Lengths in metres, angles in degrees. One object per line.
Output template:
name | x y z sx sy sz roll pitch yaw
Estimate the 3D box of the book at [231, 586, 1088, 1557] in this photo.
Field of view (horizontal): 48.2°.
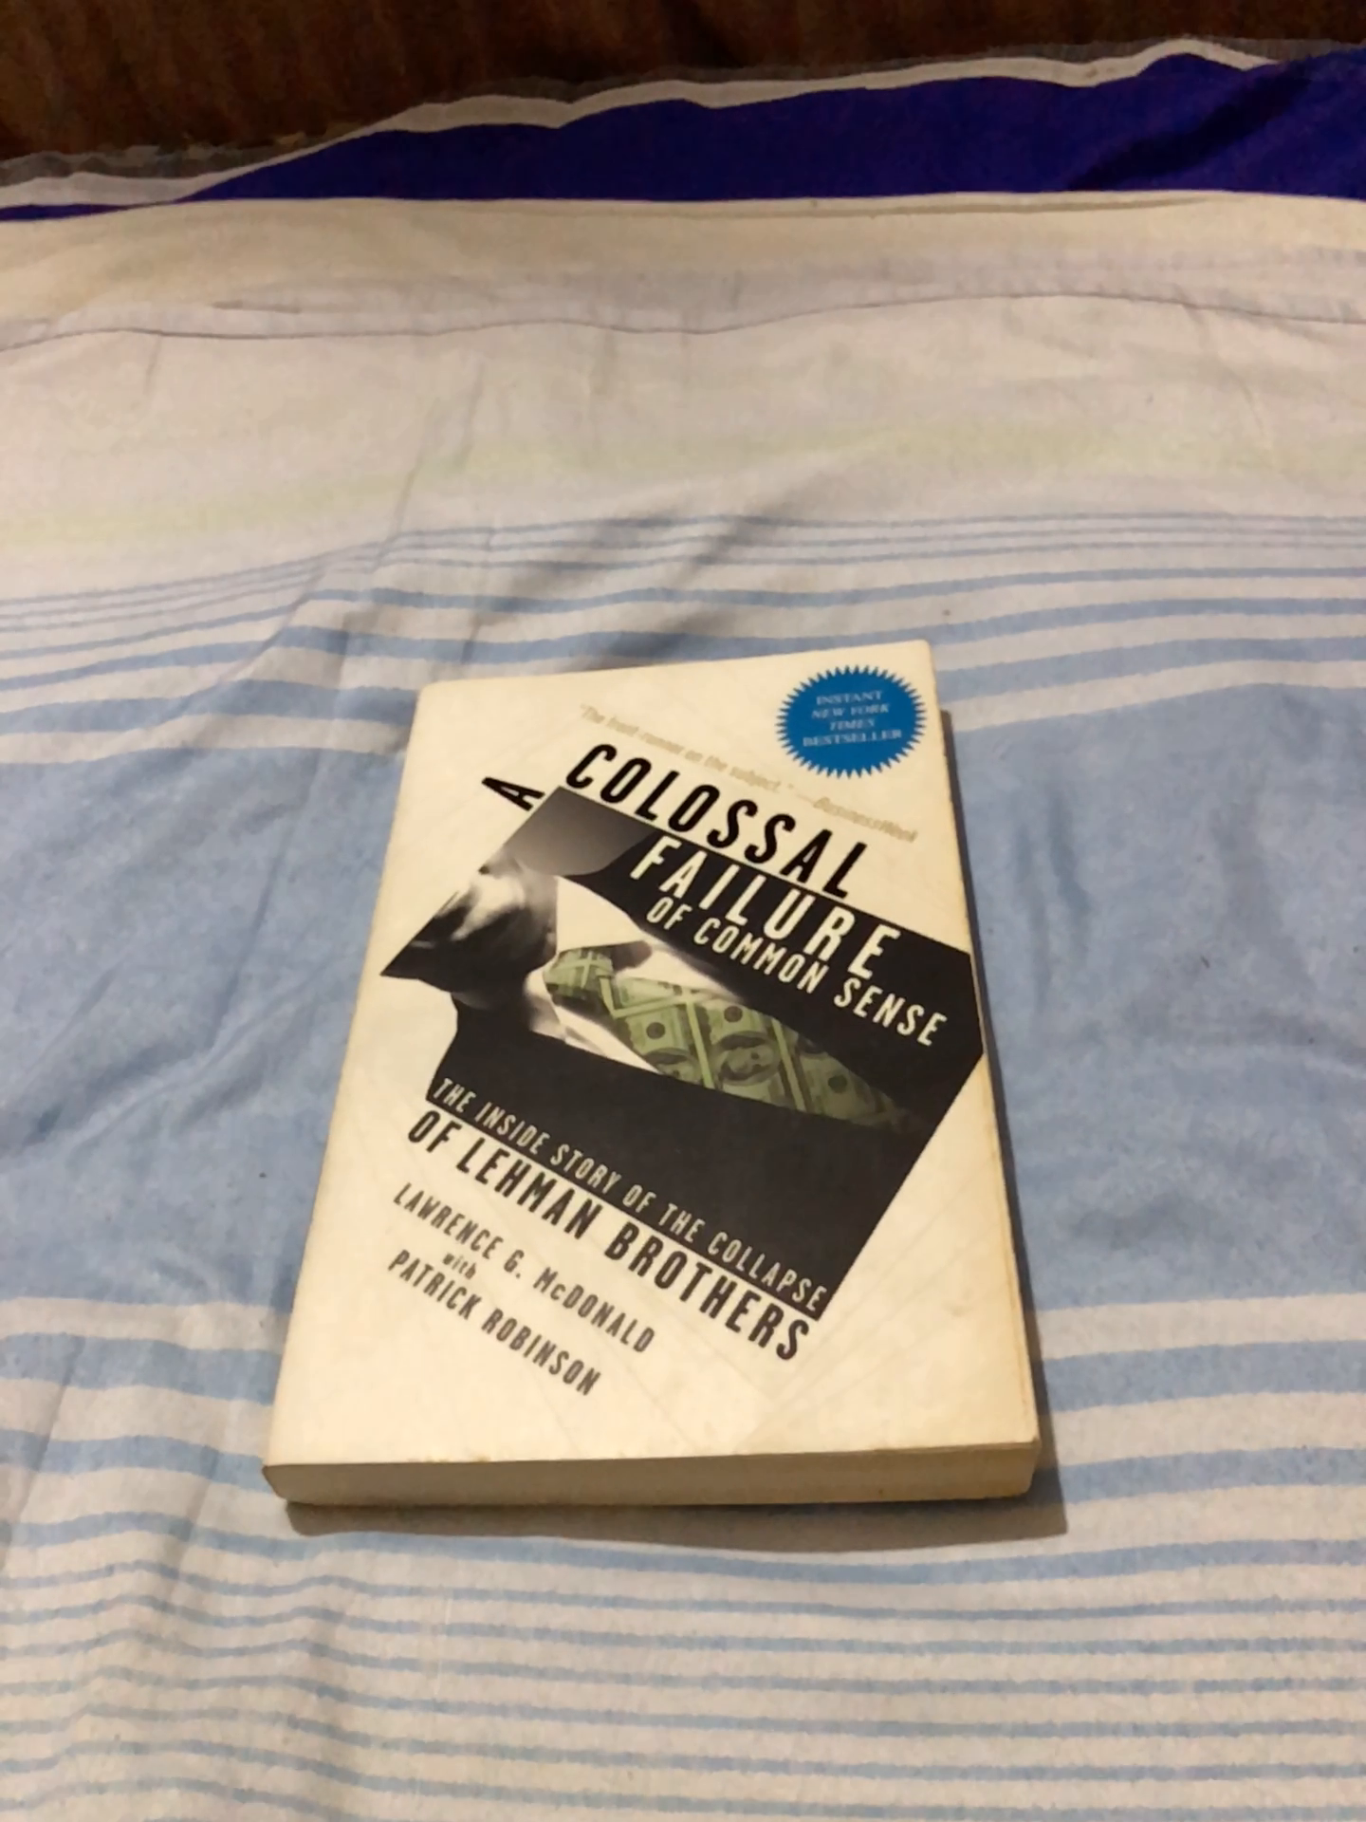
book | -0.003 0.019 0.334 0.140 0.040 0.221 -3 50 4
